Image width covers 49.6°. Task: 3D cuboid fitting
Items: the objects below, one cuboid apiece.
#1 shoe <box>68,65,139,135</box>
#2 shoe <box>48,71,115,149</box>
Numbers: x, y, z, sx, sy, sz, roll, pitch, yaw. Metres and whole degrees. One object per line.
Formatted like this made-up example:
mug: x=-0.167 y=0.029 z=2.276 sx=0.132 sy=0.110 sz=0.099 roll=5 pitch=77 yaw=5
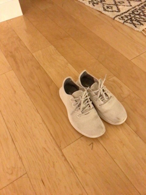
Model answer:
shoe: x=0.104 y=-0.003 z=0.622 sx=0.120 sy=0.070 sz=0.271 roll=-29 pitch=57 yaw=-17
shoe: x=0.019 y=0.033 z=0.603 sx=0.120 sy=0.070 sz=0.281 roll=-25 pitch=56 yaw=-14
